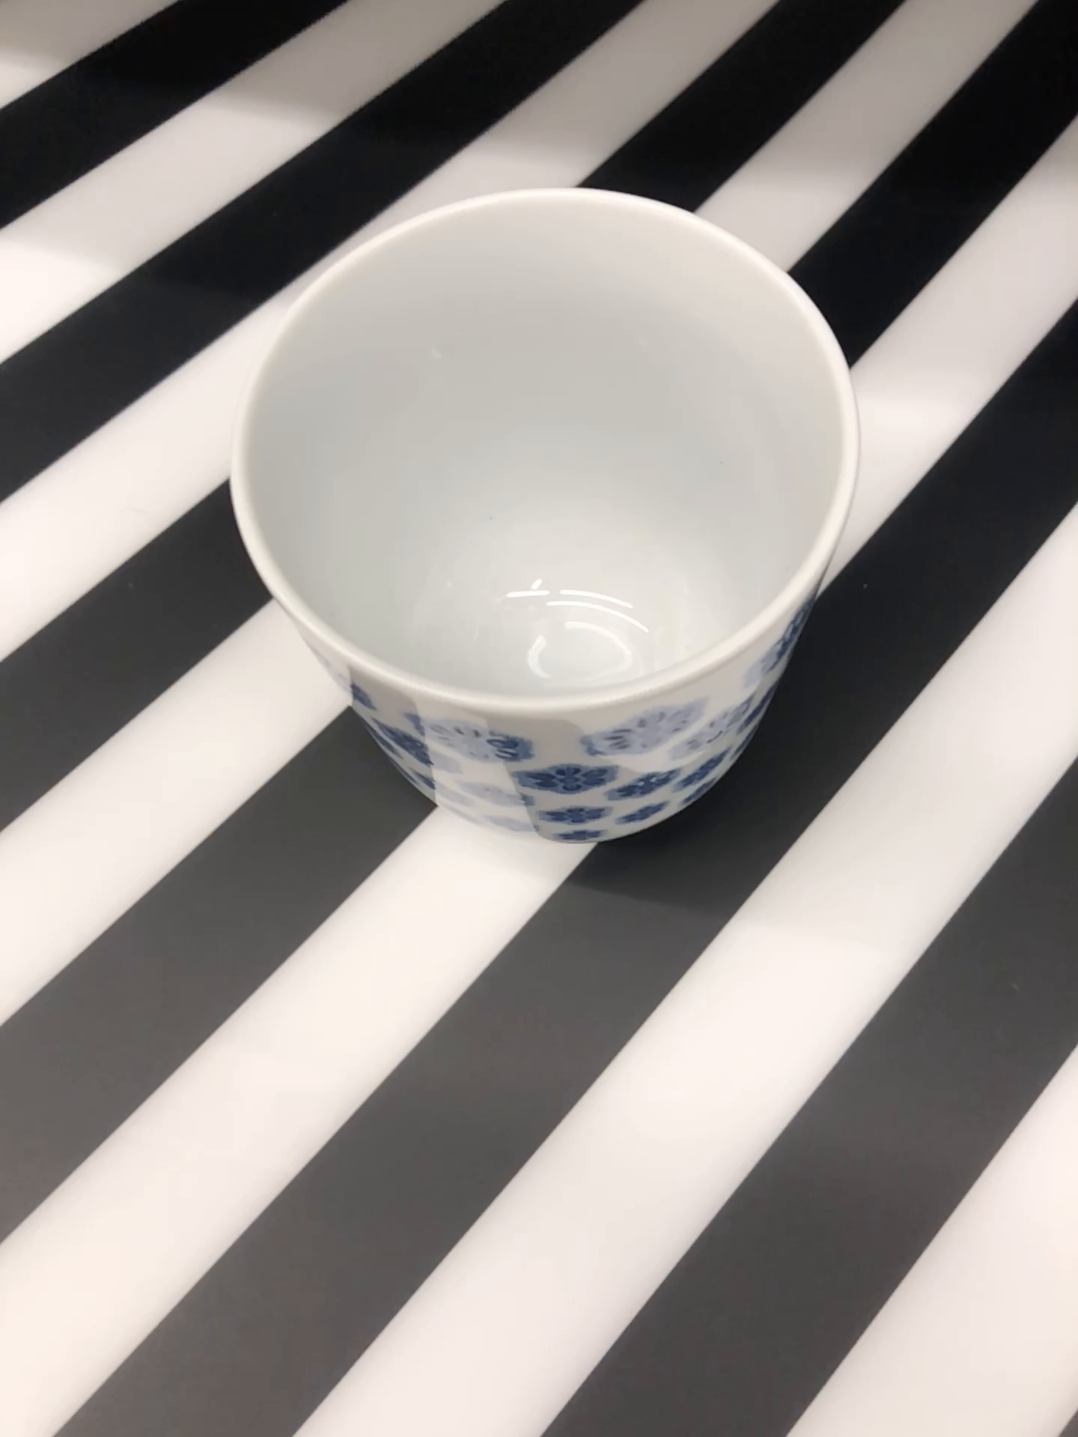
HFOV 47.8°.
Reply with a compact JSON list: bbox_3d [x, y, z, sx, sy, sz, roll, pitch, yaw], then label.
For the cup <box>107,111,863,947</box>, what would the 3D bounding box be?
[{"bbox_3d":[0.000,-0.022,0.176,0.070,0.080,0.080,10,68,9],"label":"cup"}]
